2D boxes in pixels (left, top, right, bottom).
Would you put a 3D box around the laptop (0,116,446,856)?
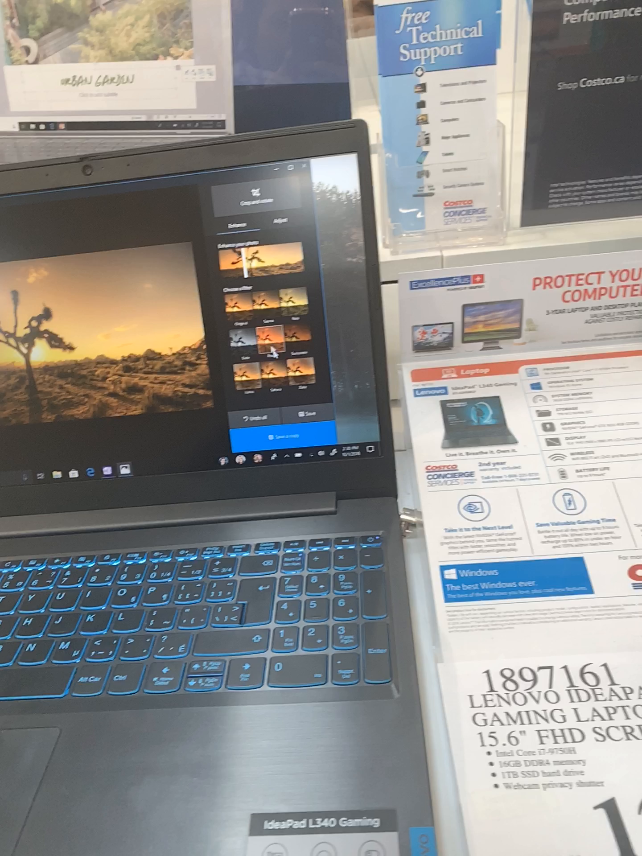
[{"bbox_3d":[-0.133,0.007,0.319,0.340,0.214,0.330,-4,32,4],"label":"laptop"}]
